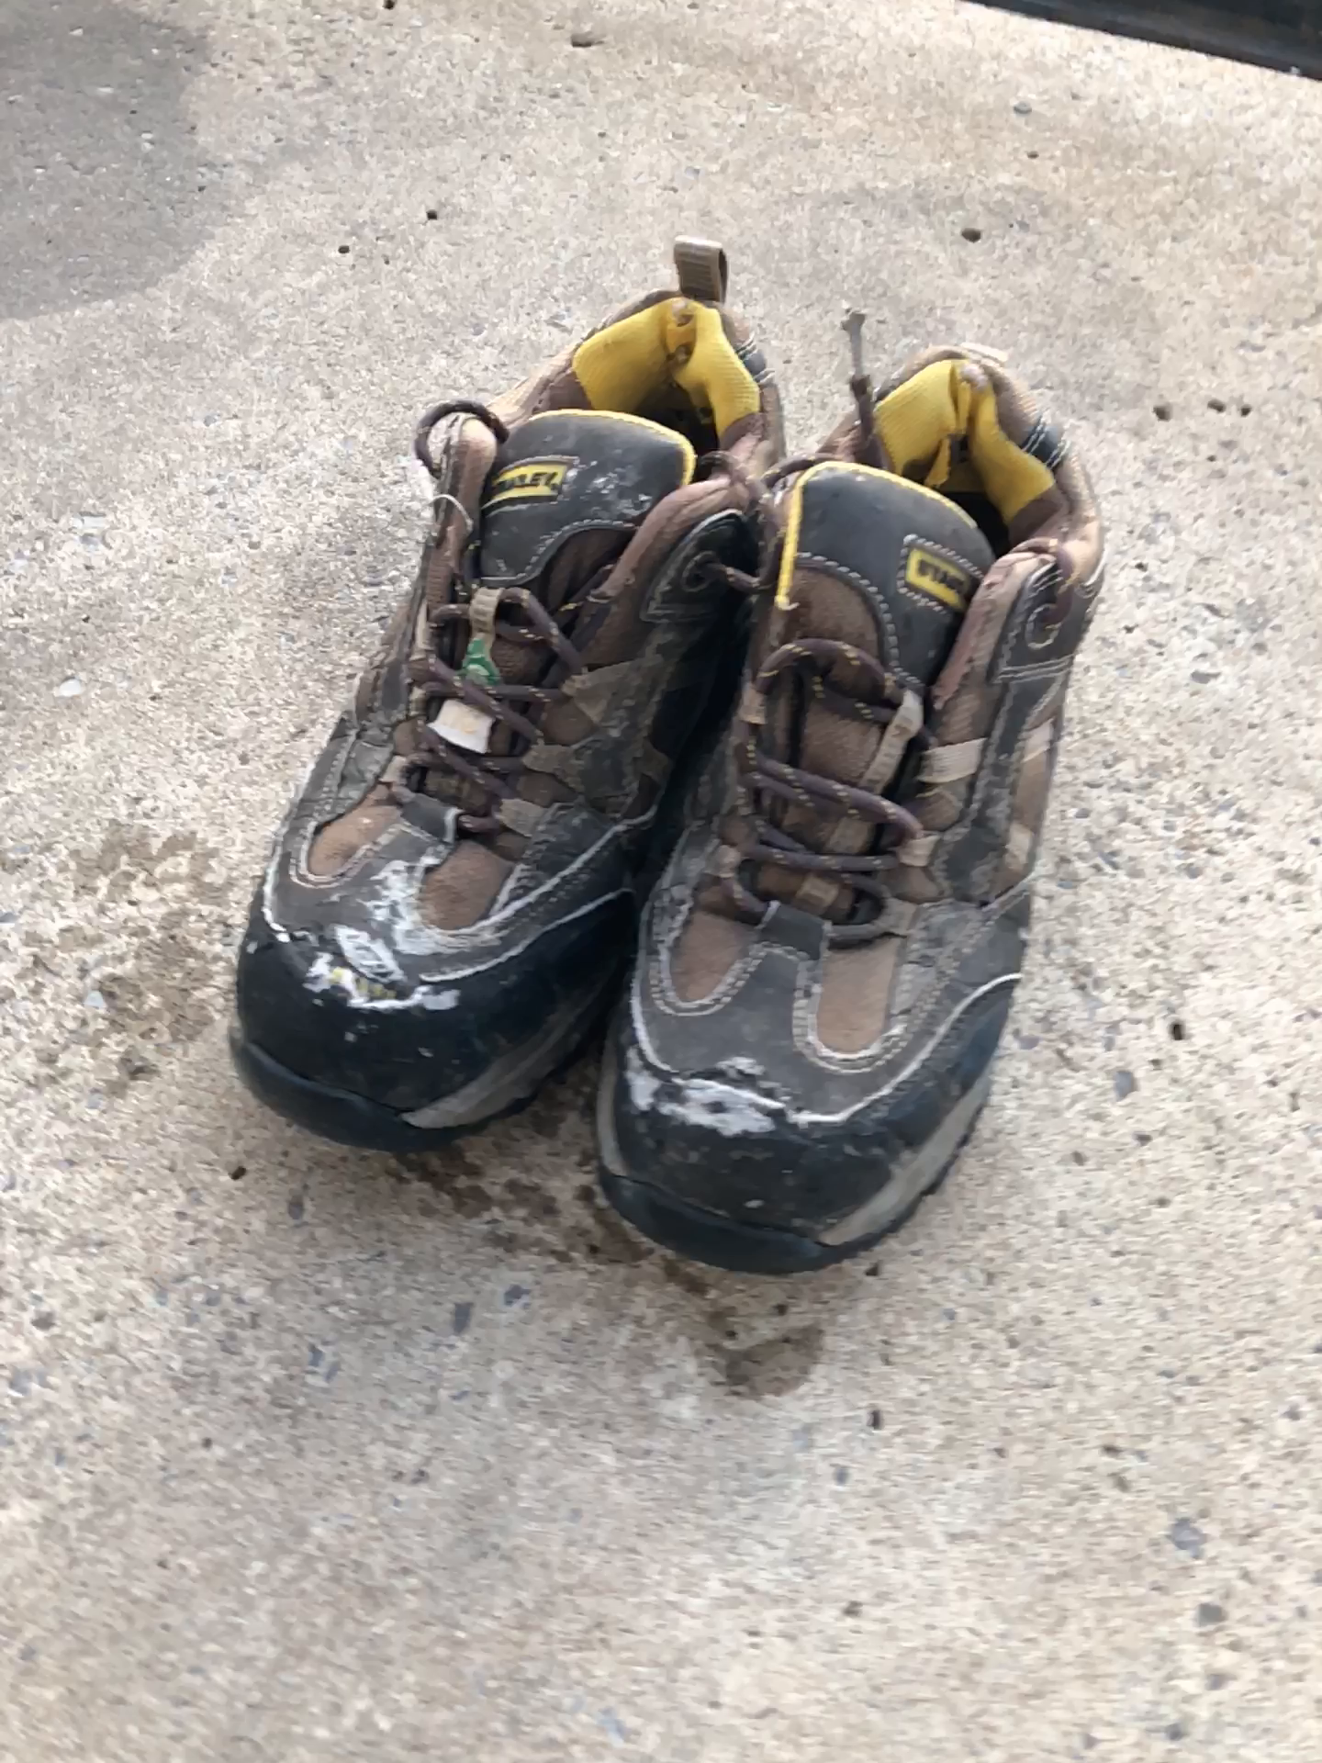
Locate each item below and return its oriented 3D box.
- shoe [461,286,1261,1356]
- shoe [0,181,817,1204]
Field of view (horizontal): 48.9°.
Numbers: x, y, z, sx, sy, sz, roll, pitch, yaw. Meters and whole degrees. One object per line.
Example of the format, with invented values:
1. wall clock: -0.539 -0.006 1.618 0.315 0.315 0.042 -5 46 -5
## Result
1. shoe: 0.060 -0.016 0.421 0.120 0.169 0.231 21 61 13
2. shoe: -0.051 -0.059 0.436 0.100 0.149 0.251 21 61 13
